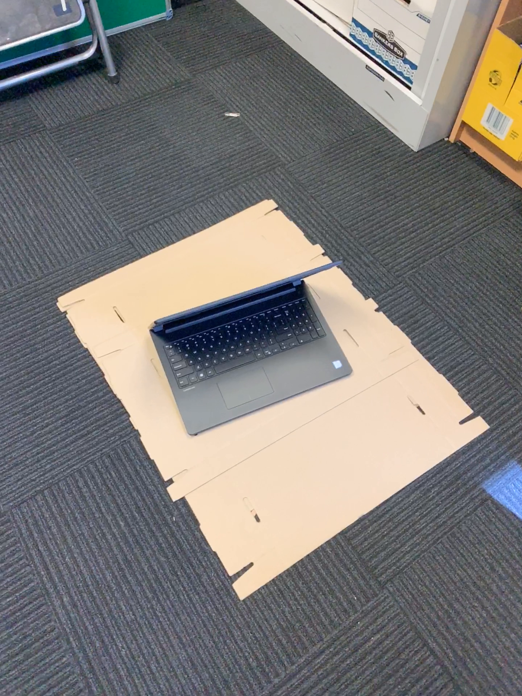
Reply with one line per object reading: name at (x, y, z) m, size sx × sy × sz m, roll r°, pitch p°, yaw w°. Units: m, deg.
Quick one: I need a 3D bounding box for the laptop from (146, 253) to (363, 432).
laptop at (-0.014, -0.019, 1.008) m, size 0.341 × 0.085 × 0.221 m, roll -19°, pitch 65°, yaw -13°
